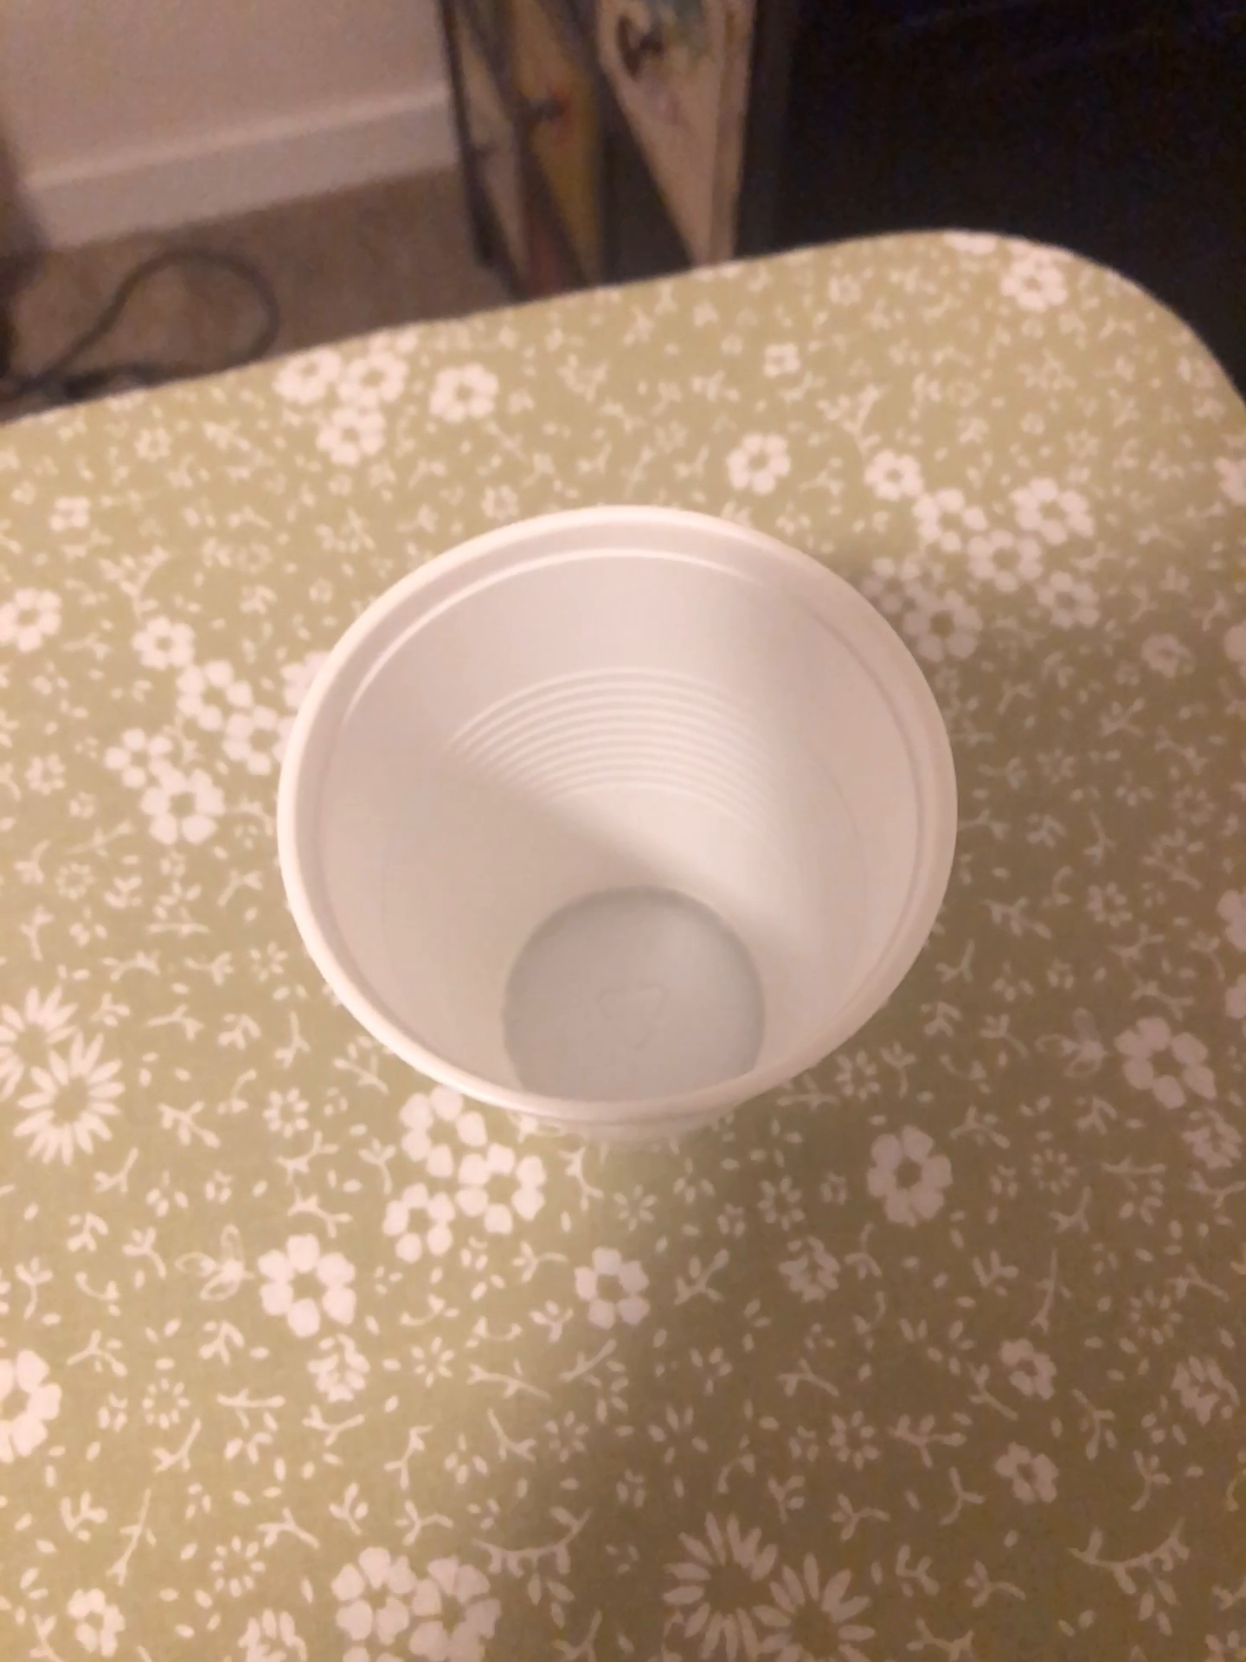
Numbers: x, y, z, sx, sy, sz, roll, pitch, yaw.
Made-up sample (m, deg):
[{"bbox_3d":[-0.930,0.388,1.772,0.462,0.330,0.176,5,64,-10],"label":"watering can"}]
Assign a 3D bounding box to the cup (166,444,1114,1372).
[{"bbox_3d":[0.001,0.018,0.203,0.077,0.090,0.079,0,66,1],"label":"cup"}]
